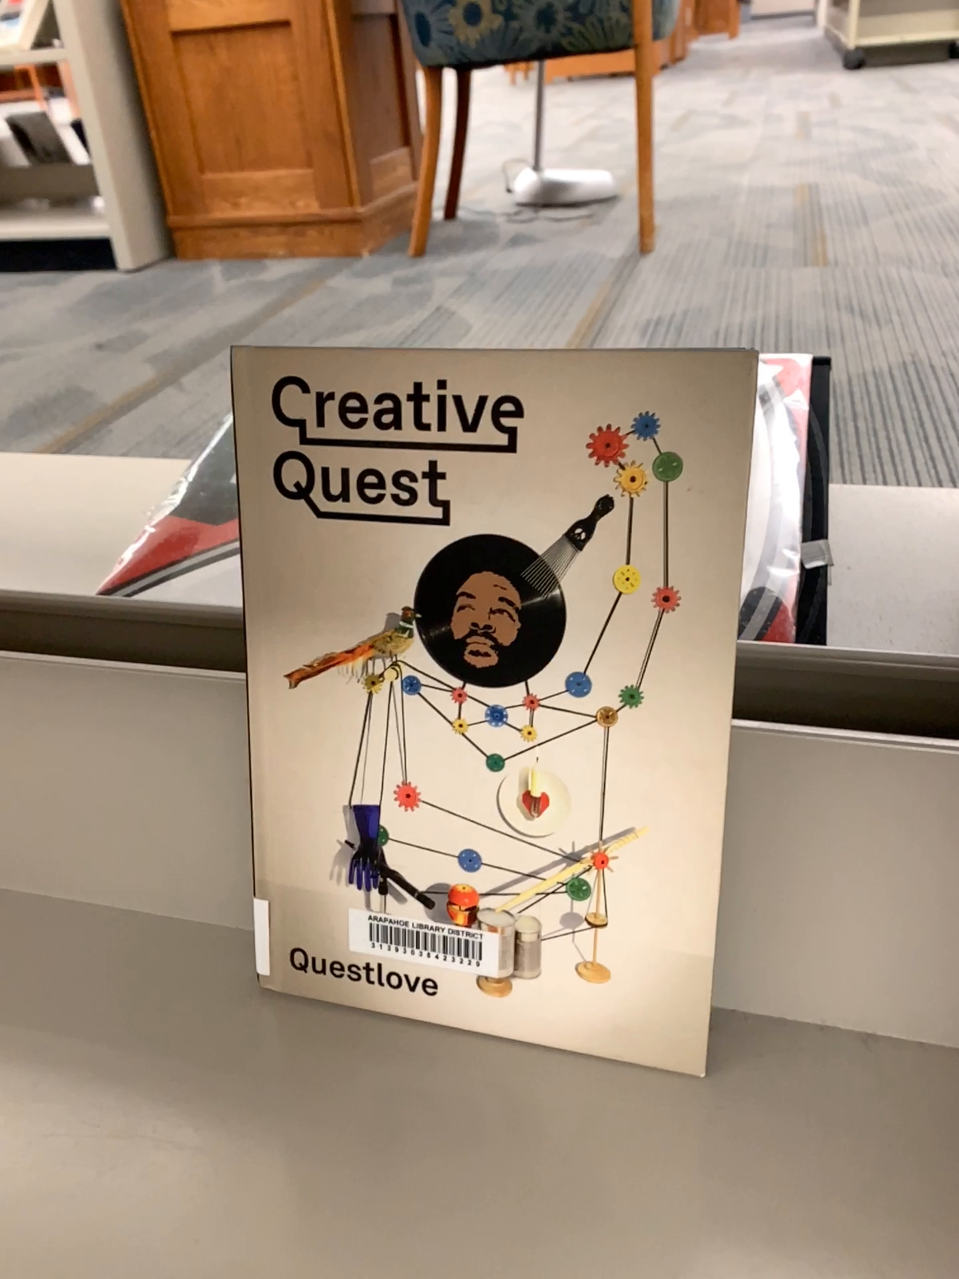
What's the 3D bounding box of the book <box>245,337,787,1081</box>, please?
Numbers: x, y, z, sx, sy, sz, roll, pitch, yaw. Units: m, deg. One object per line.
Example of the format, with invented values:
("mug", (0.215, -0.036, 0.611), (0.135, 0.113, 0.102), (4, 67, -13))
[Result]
("book", (0.006, 0.019, 0.322), (0.160, 0.223, 0.031), (5, 13, 16))
